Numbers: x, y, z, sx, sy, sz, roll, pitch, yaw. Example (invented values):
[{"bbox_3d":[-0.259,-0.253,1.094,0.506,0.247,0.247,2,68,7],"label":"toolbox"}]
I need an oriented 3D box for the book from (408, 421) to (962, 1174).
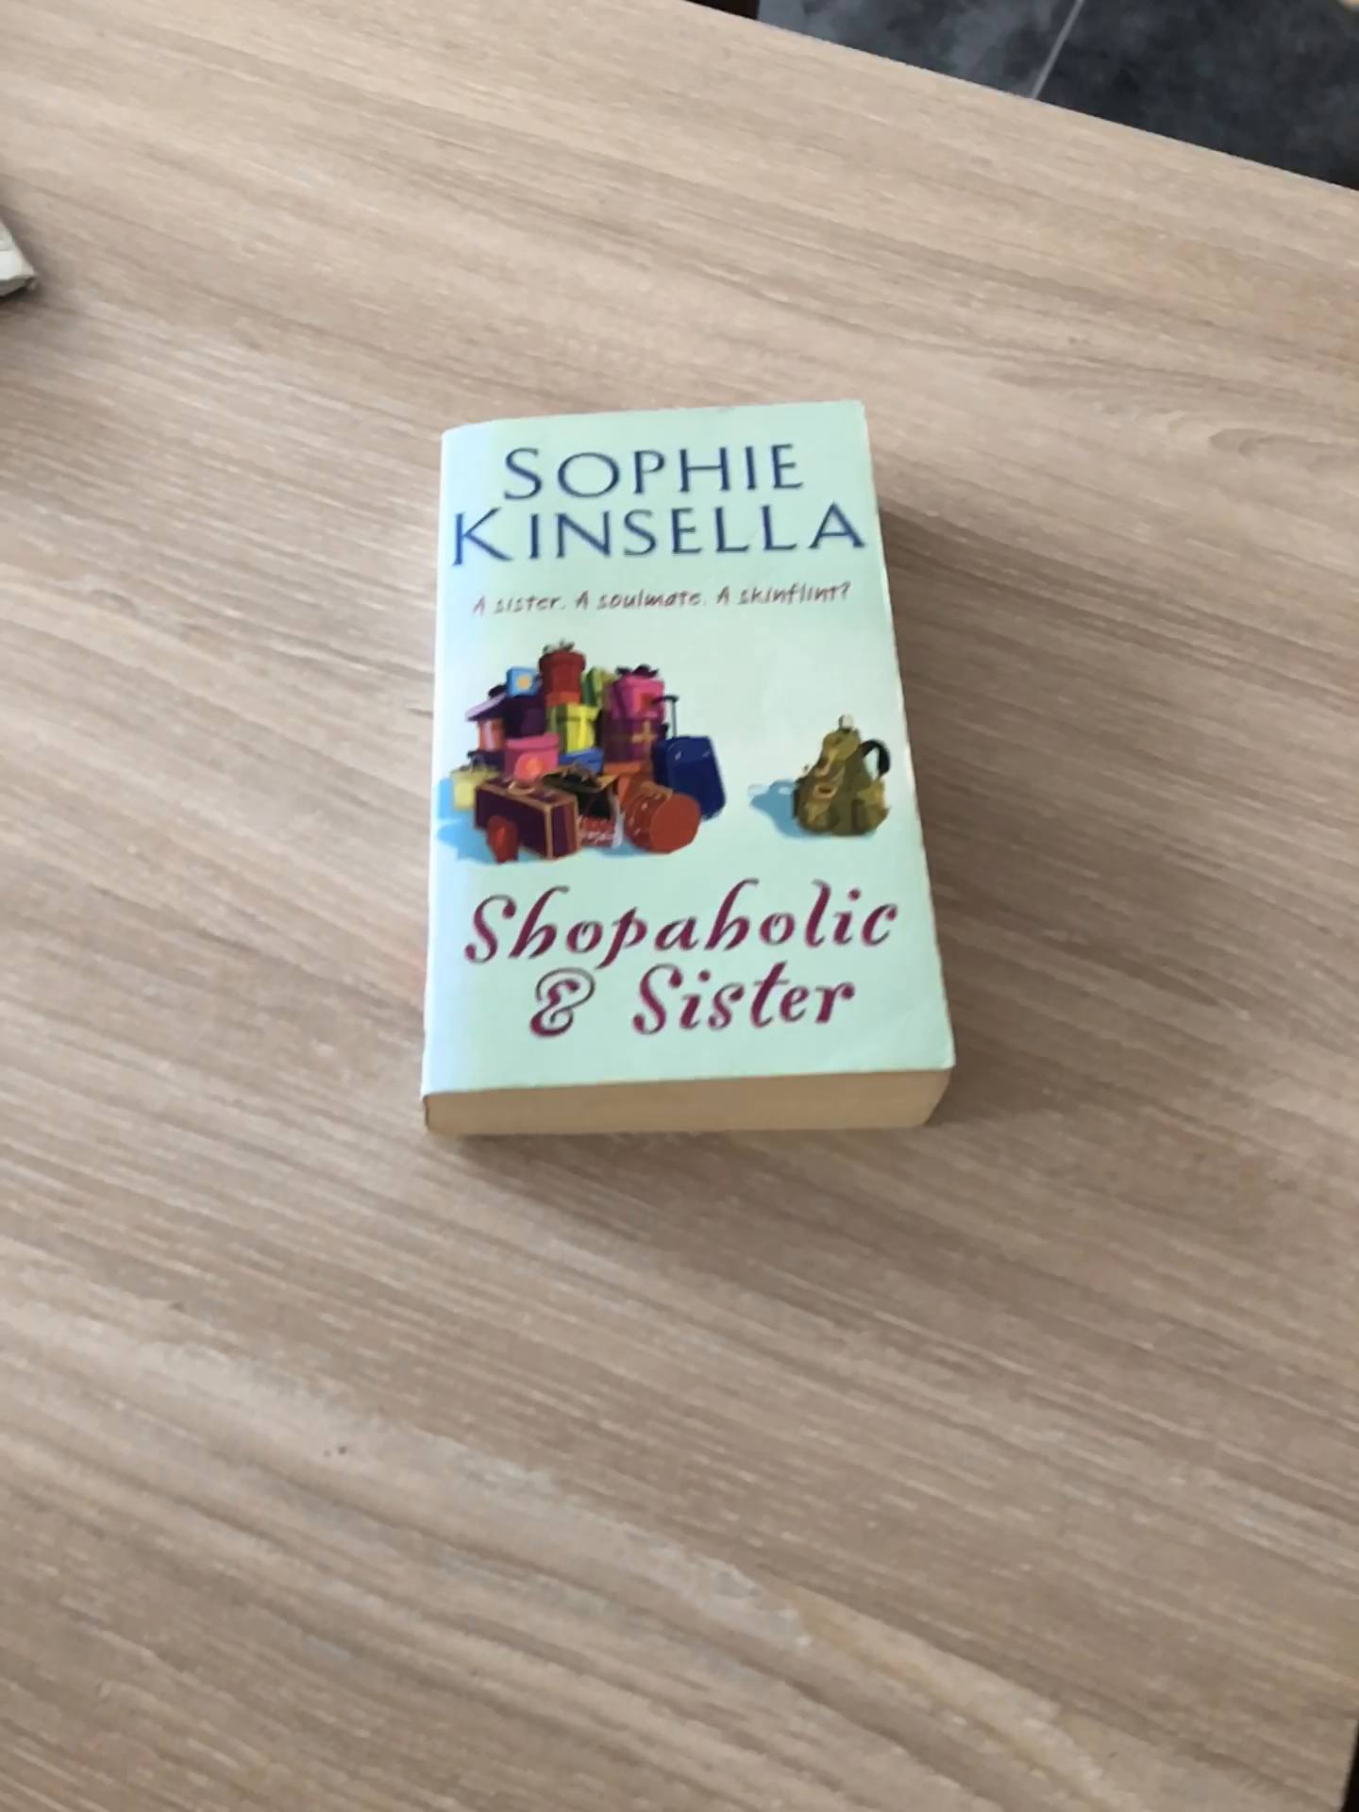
[{"bbox_3d":[-0.003,-0.033,0.344,0.107,0.032,0.180,-2,62,-2],"label":"book"}]
